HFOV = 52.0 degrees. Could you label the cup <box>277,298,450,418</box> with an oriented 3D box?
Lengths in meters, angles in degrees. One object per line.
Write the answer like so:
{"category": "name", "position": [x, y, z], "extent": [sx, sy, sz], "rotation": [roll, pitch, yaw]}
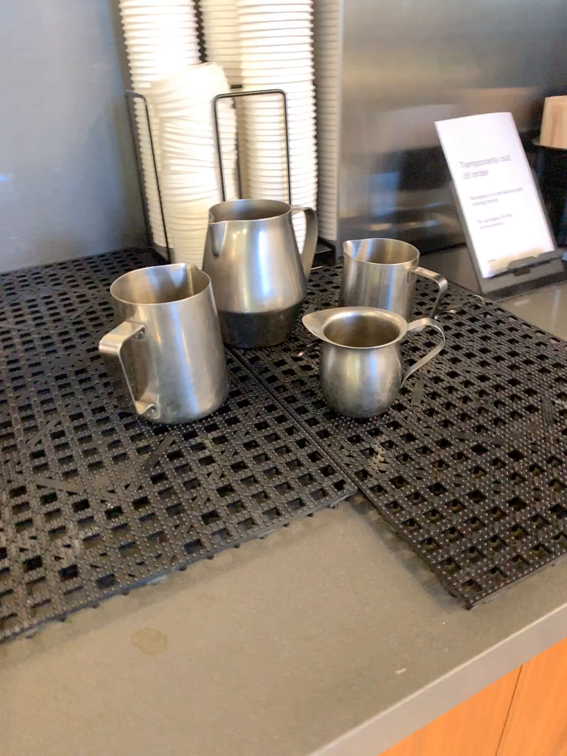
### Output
{"category": "cup", "position": [0.060, -0.018, 0.458], "extent": [0.120, 0.060, 0.080], "rotation": [2, 32, 6]}

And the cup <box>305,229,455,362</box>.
{"category": "cup", "position": [0.089, -0.083, 0.553], "extent": [0.110, 0.079, 0.080], "rotation": [21, 39, 33]}

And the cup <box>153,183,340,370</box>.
{"category": "cup", "position": [-0.032, -0.110, 0.590], "extent": [0.150, 0.129, 0.101], "rotation": [-28, 40, -35]}

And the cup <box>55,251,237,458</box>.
{"category": "cup", "position": [-0.096, -0.024, 0.453], "extent": [0.080, 0.109, 0.121], "rotation": [5, 32, 12]}
